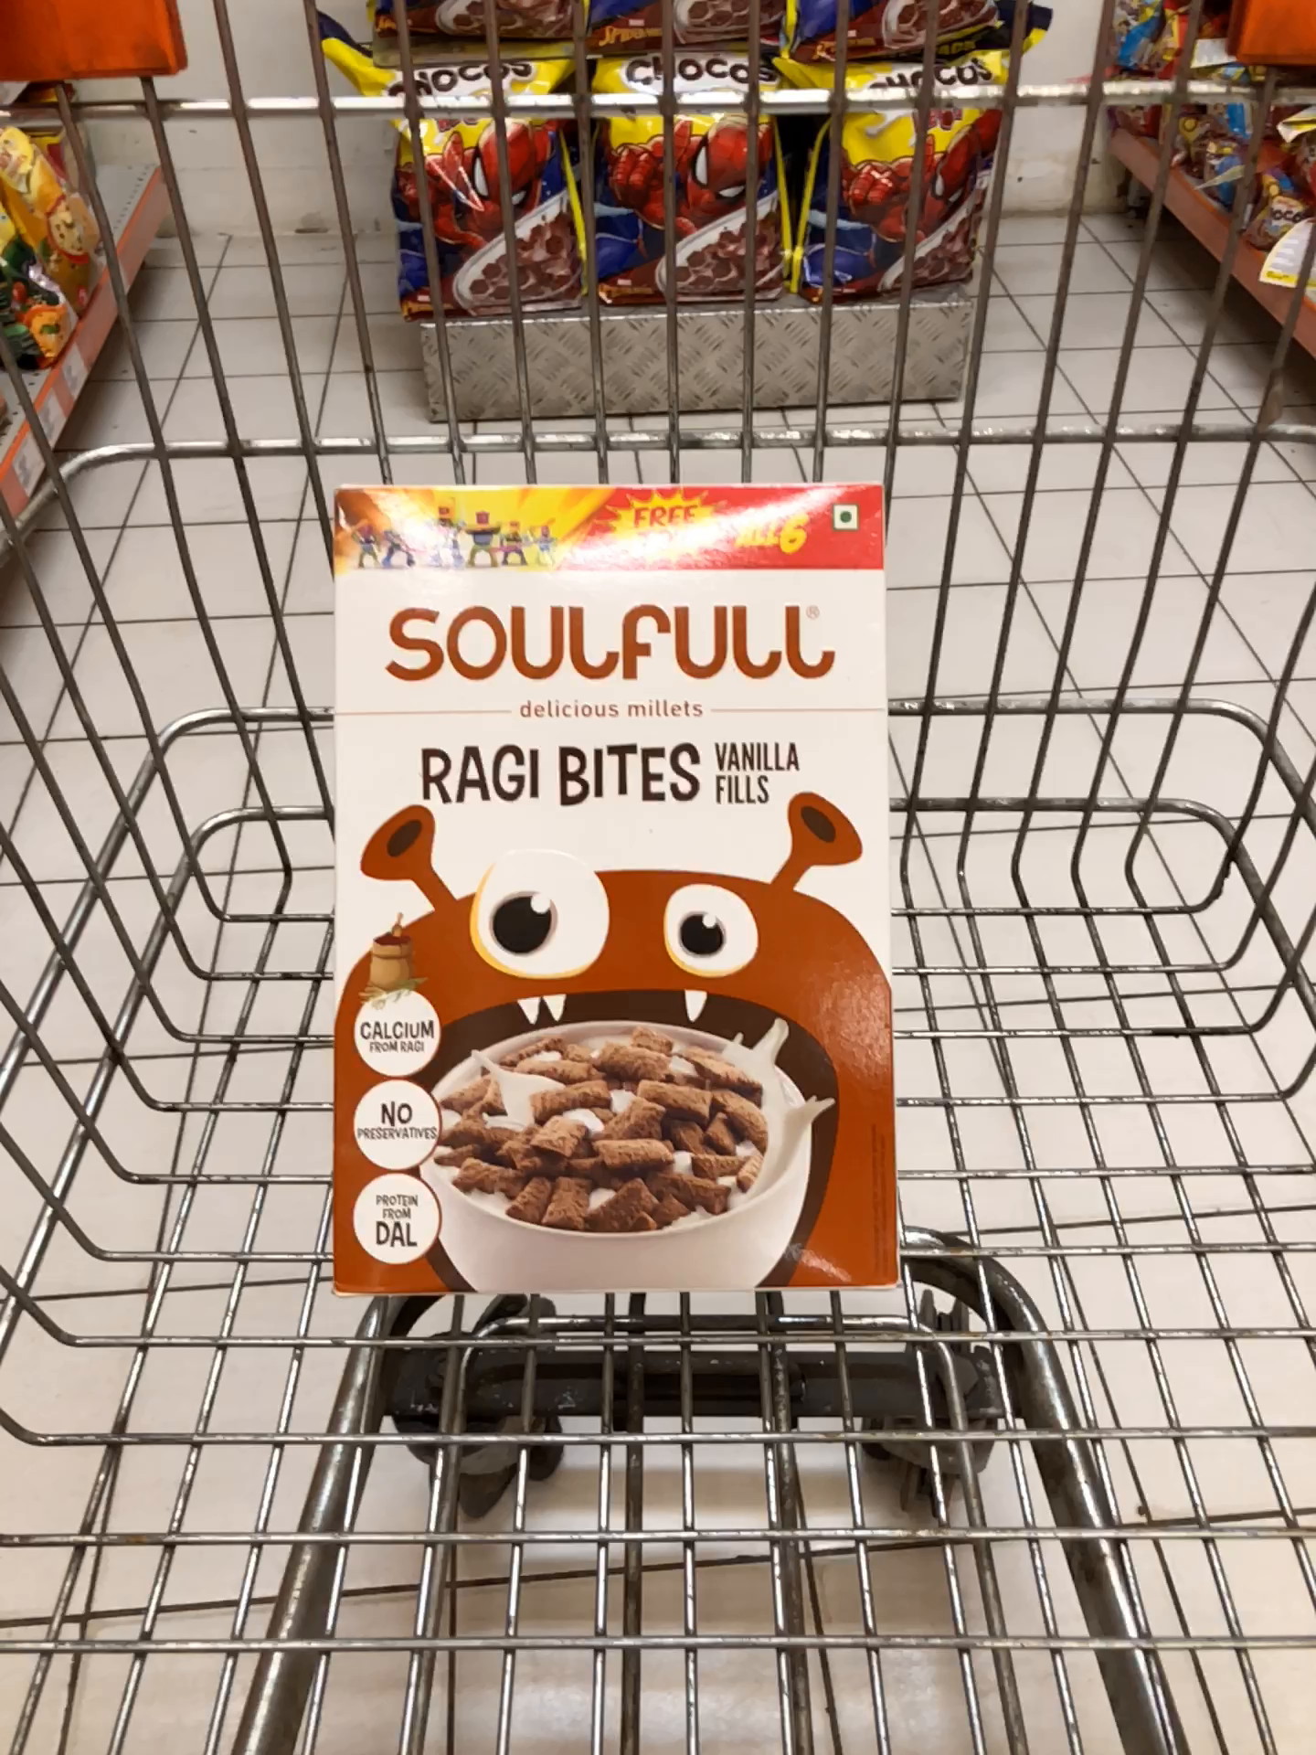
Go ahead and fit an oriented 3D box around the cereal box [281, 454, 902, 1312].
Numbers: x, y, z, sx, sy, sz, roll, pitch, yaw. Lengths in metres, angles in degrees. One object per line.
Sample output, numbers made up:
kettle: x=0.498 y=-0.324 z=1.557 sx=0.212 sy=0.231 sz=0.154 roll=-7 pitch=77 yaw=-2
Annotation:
cereal box: x=-0.019 y=0.002 z=0.461 sx=0.180 sy=0.250 sz=0.070 roll=0 pitch=-2 yaw=-2
